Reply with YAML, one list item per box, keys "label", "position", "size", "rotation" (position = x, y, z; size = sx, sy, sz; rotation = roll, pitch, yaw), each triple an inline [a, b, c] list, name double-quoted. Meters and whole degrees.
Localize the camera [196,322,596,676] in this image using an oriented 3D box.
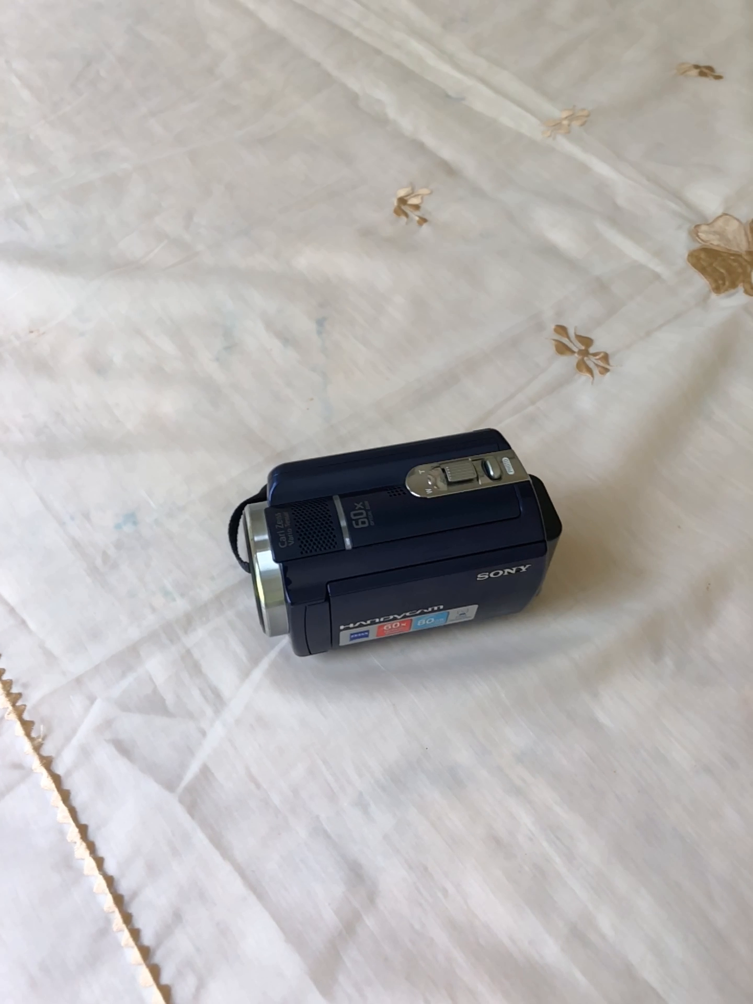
- label: "camera"
  position: [0.002, -0.003, 0.314]
  size: [0.119, 0.070, 0.090]
  rotation: [-10, 55, -8]
